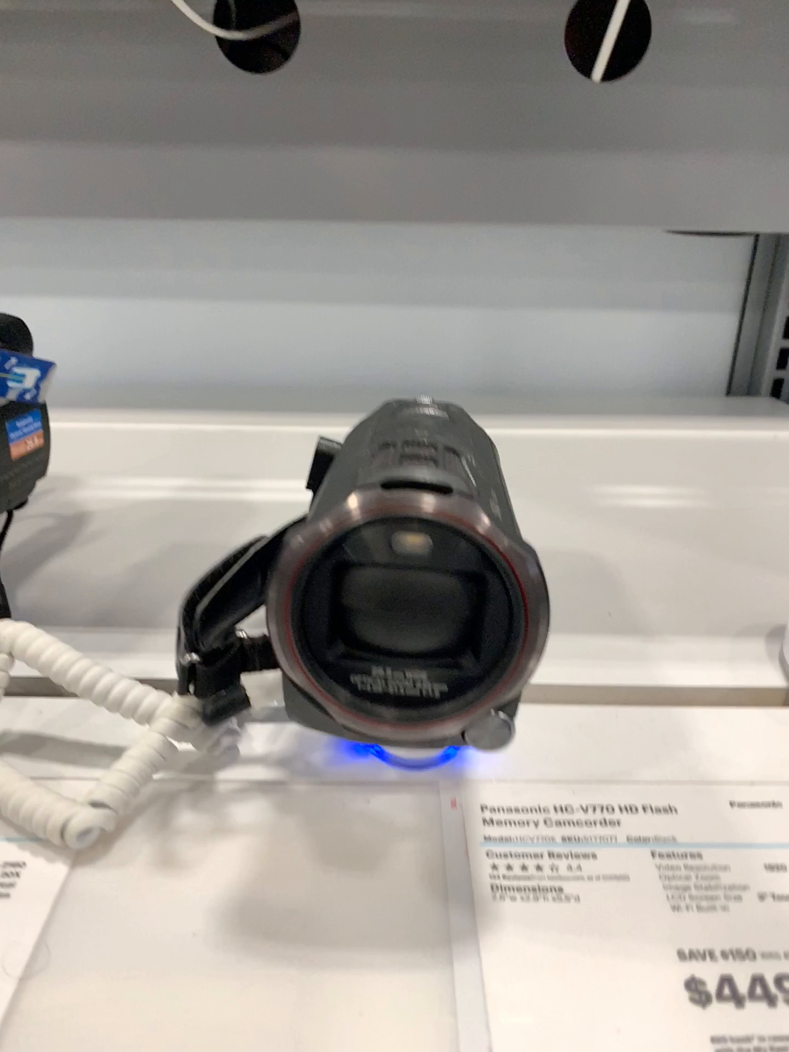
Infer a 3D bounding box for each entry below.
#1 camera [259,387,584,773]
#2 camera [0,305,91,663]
[{"bbox_3d":[0.005,0.002,0.238,0.065,0.061,0.139,2,19,0],"label":"camera"},{"bbox_3d":[-0.179,-0.029,0.285,0.071,0.073,0.167,3,21,3],"label":"camera"}]
